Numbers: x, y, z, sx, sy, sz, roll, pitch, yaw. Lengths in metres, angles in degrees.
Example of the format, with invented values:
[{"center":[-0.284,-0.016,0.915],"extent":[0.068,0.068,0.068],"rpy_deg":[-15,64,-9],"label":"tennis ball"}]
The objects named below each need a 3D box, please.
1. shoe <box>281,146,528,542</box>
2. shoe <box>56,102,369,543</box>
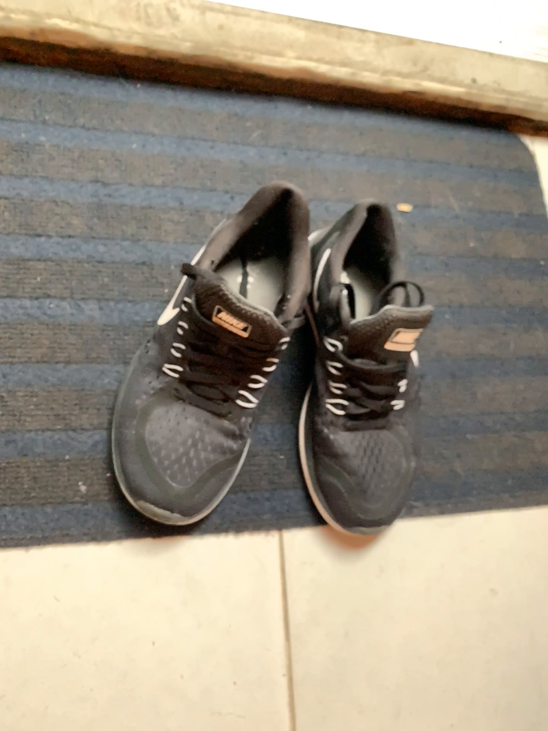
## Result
[{"center":[0.076,-0.006,0.406],"extent":[0.107,0.119,0.248],"rpy_deg":[3,73,-15],"label":"shoe"},{"center":[-0.036,-0.022,0.379],"extent":[0.104,0.119,0.248],"rpy_deg":[21,69,-9],"label":"shoe"}]
